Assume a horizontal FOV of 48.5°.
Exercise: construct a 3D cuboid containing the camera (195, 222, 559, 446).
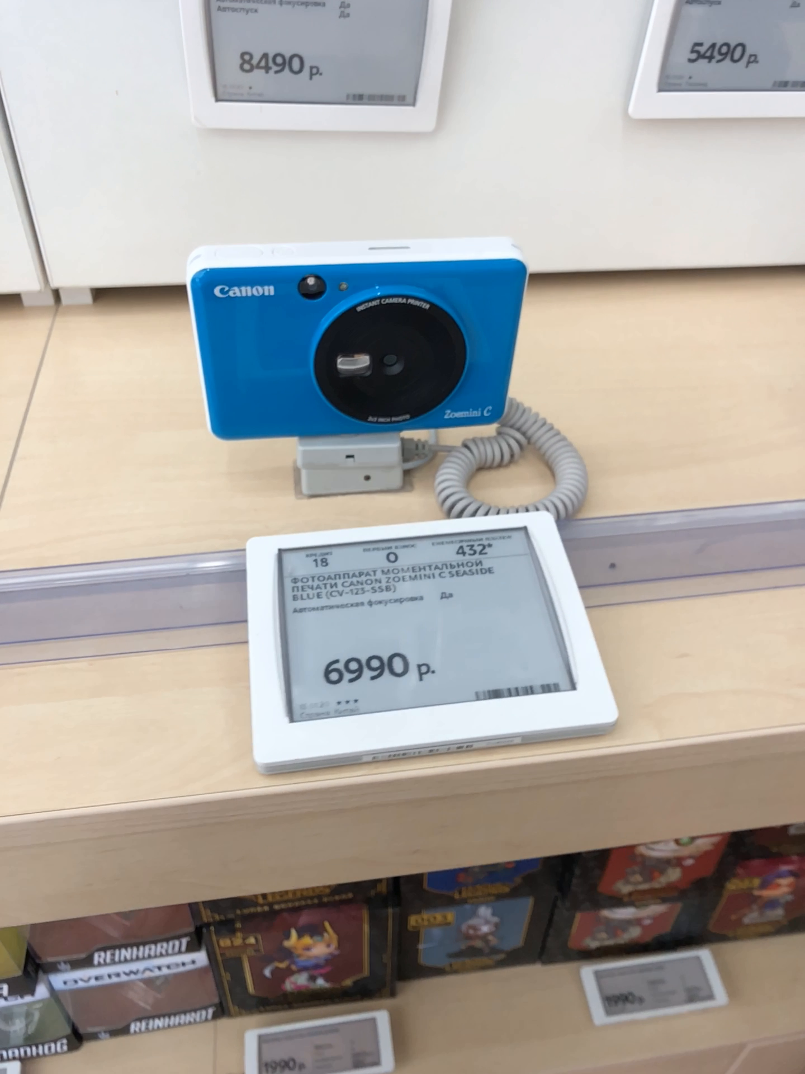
[{"bbox_3d":[-0.010,-0.073,0.328,0.120,0.070,0.030,-4,47,-6],"label":"camera"}]
